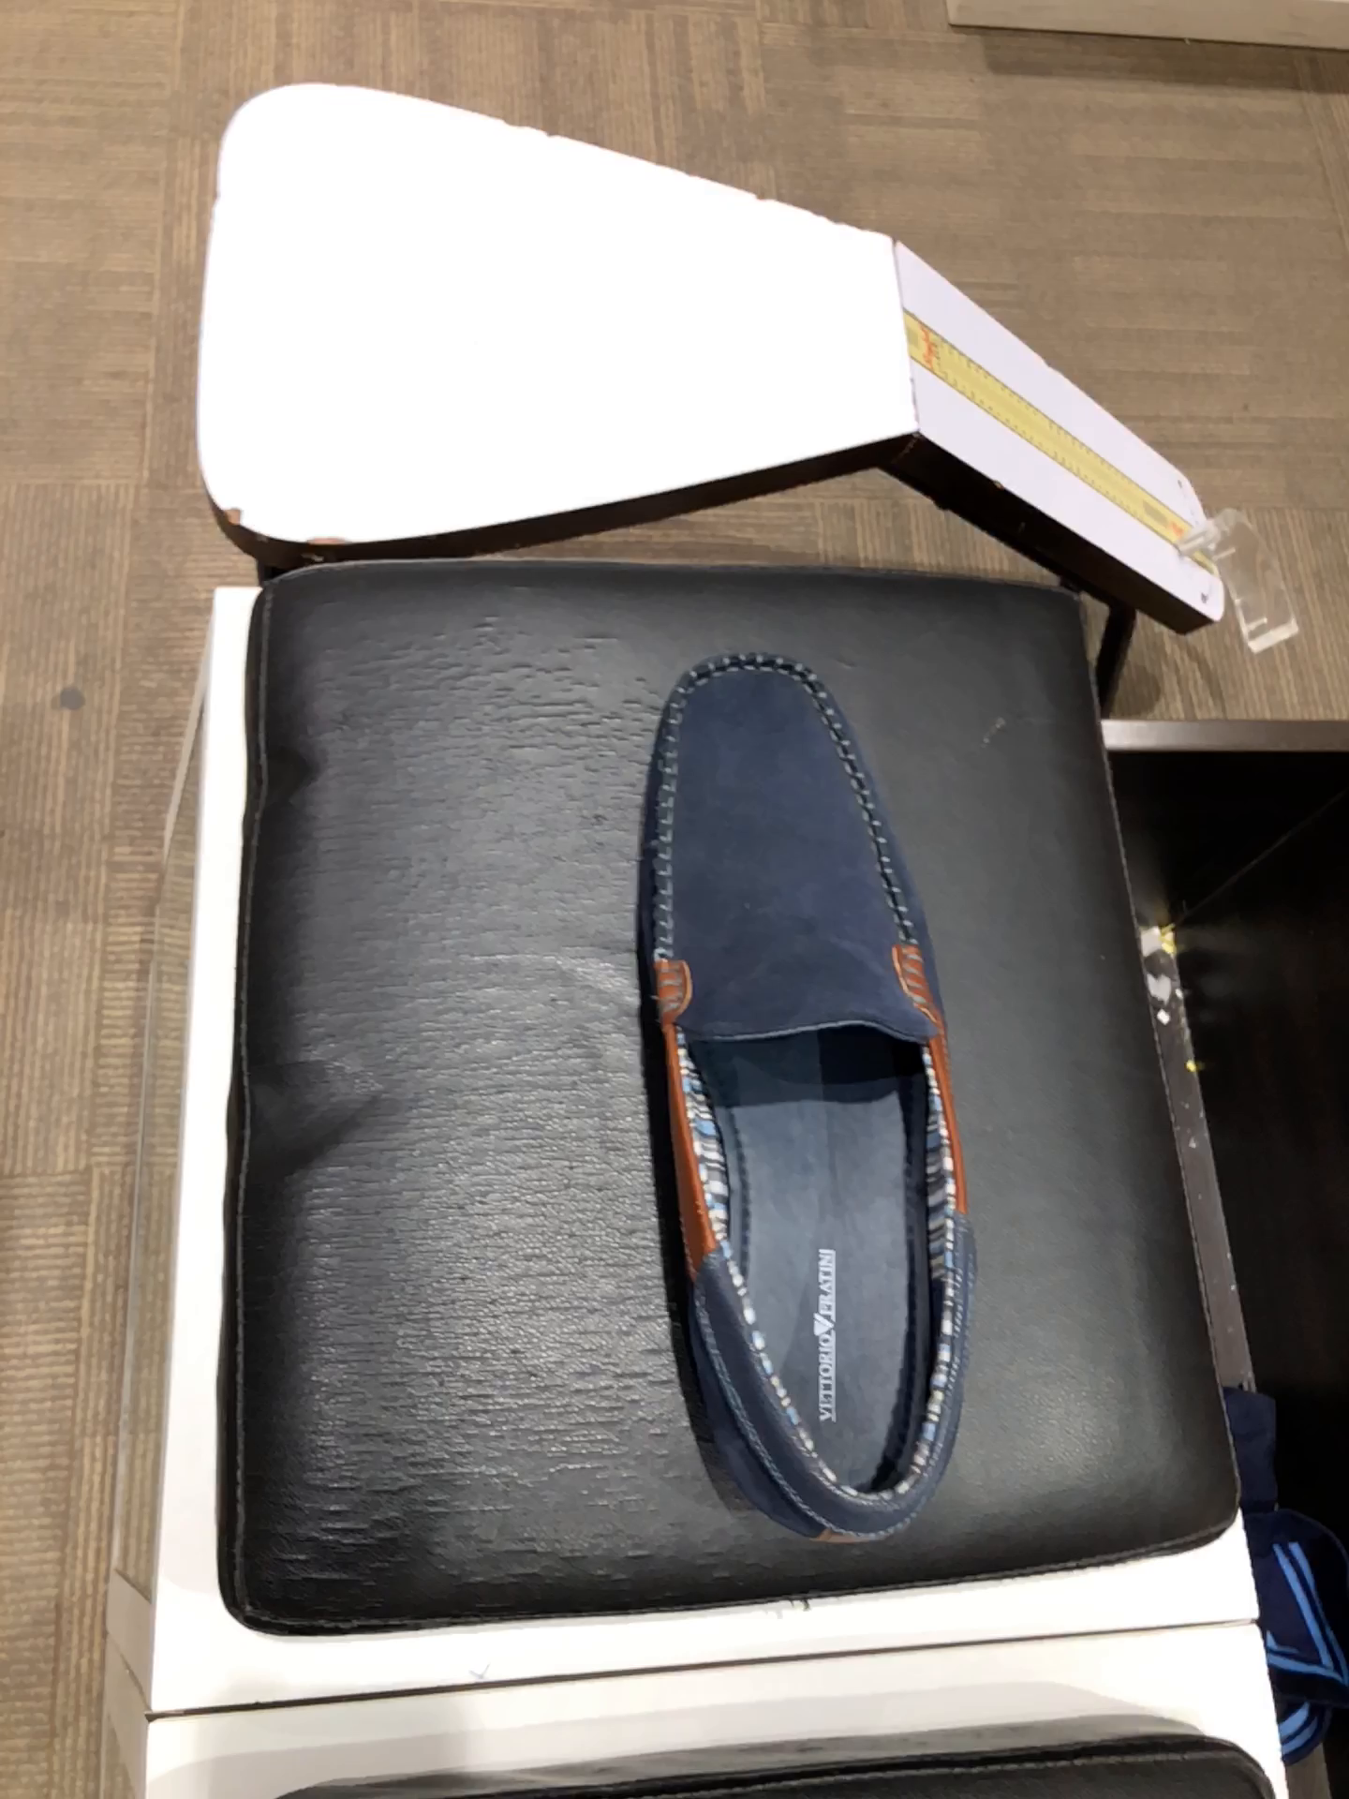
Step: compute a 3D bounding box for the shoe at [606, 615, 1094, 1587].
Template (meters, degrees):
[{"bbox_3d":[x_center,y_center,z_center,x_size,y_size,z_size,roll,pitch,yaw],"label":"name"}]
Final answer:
[{"bbox_3d":[0.044,0.059,0.495,0.110,0.100,0.291,-2,70,-7],"label":"shoe"}]
